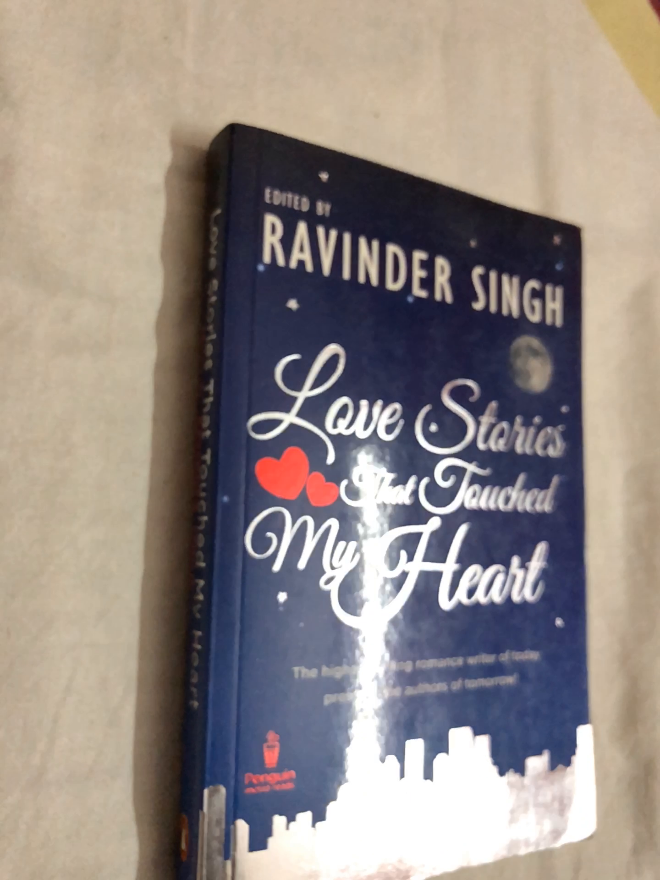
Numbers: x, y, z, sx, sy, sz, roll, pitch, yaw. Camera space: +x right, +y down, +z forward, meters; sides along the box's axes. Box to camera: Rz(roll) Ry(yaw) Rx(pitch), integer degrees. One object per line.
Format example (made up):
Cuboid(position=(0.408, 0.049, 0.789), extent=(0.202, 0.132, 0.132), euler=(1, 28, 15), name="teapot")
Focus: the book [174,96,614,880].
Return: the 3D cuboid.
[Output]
Cuboid(position=(0.025, 0.020, 0.228), extent=(0.131, 0.030, 0.210), euler=(4, 82, -28), name="book")
